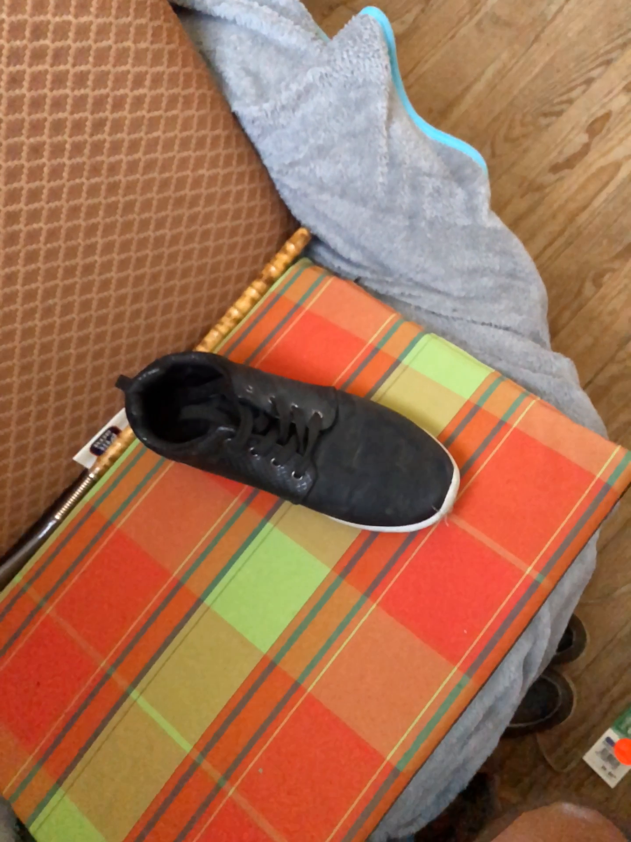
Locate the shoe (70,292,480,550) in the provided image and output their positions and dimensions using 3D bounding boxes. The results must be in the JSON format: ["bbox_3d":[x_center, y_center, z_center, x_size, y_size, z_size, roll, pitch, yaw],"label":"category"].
[{"bbox_3d":[-0.027,-0.003,0.511,0.266,0.080,0.110,14,76,17],"label":"shoe"}]
